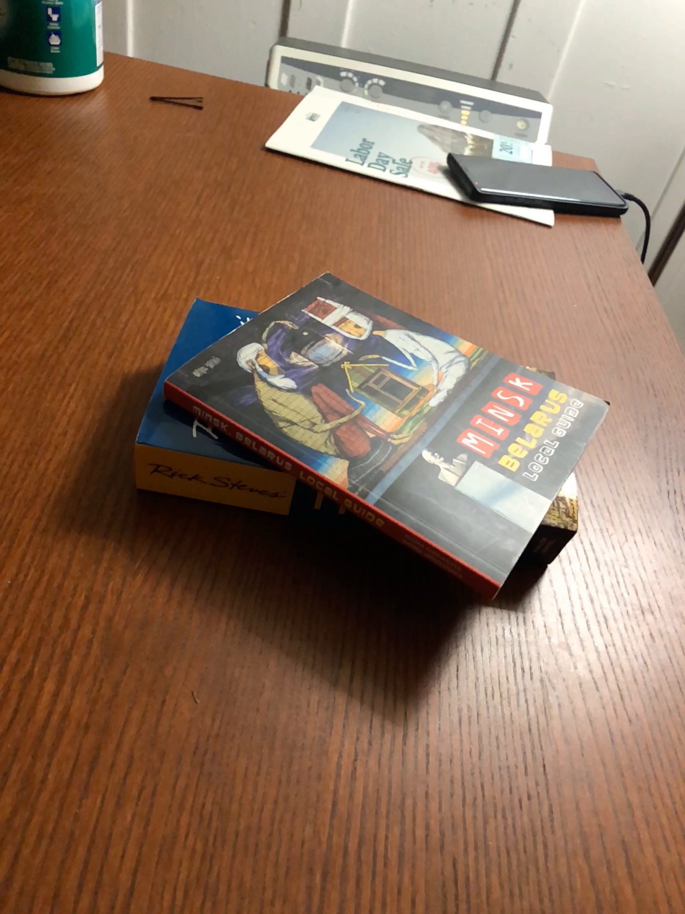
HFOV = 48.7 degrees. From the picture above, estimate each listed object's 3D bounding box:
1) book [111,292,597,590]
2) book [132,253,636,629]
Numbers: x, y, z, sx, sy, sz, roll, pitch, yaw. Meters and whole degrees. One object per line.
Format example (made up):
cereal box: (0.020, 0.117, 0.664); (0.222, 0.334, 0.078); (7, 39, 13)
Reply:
book: (0.009, -0.014, 0.397); (0.220, 0.040, 0.131); (11, 42, -4)
book: (0.027, -0.025, 0.356); (0.190, 0.020, 0.151); (29, 44, 15)
